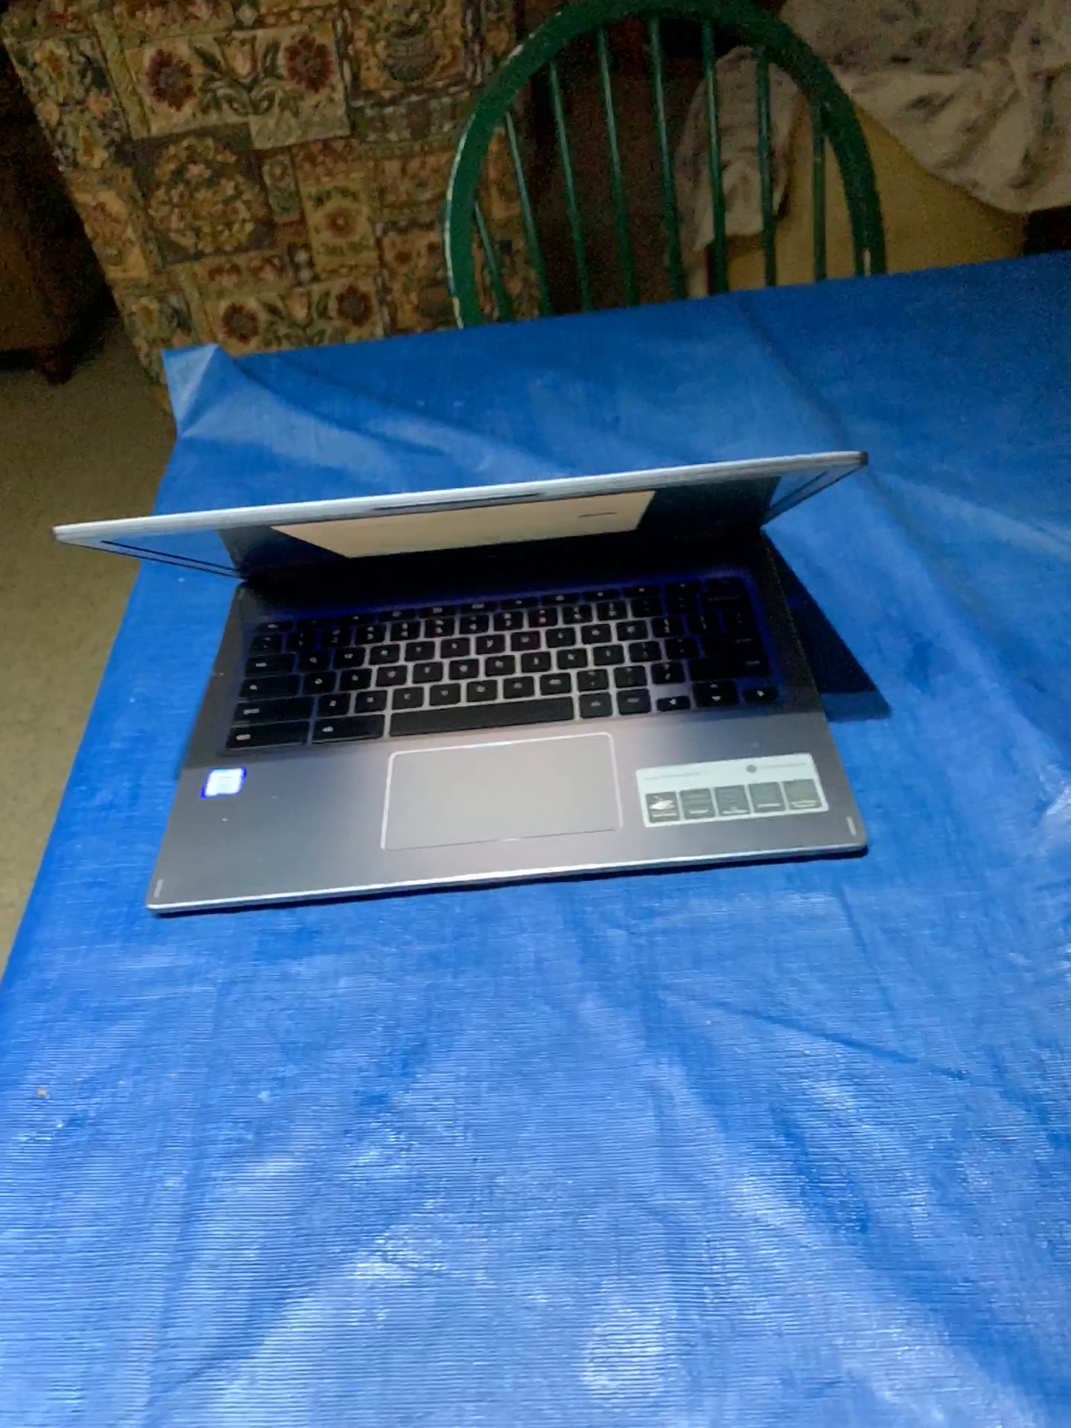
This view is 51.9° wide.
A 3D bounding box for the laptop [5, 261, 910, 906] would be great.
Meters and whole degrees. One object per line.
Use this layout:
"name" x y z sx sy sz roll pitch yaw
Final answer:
"laptop" -0.024 -0.071 0.509 0.303 0.150 0.252 -5 42 3
